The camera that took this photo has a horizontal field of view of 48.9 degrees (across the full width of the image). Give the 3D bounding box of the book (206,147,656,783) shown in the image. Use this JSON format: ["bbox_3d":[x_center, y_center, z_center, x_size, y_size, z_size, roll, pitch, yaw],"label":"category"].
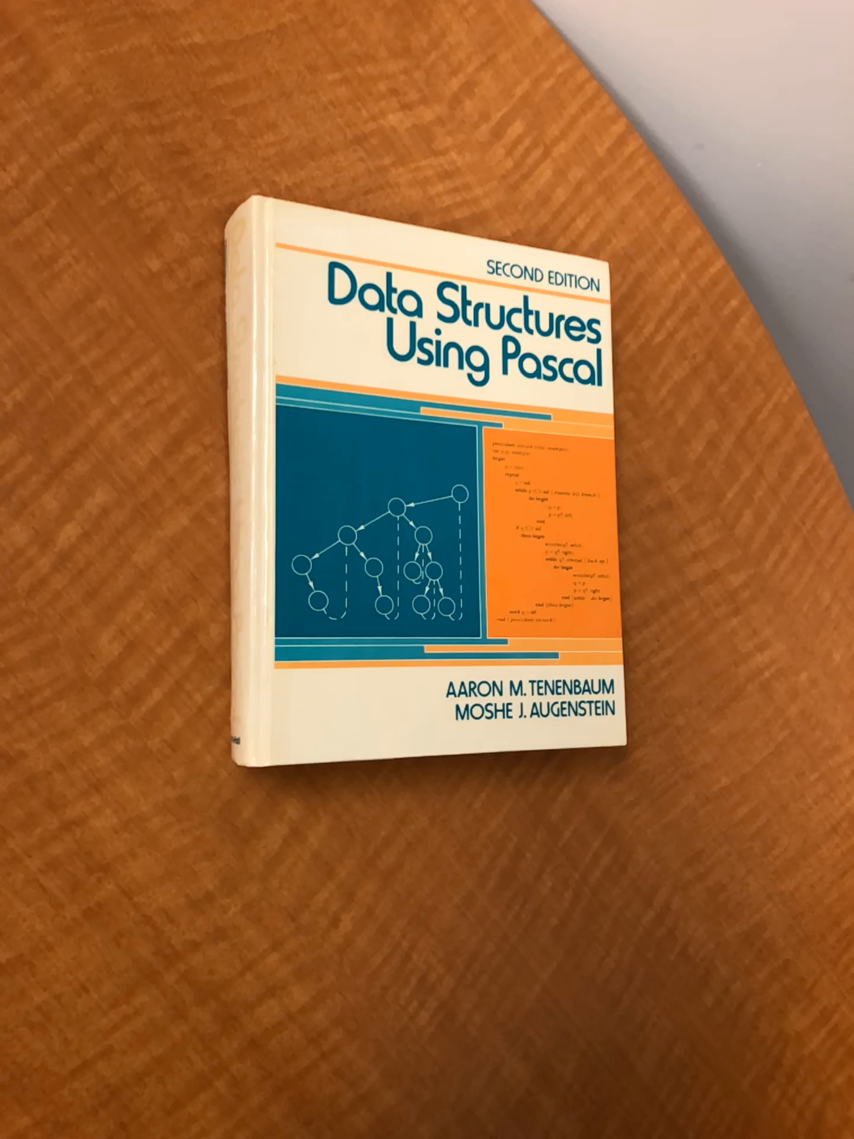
[{"bbox_3d":[0.003,-0.042,0.440,0.200,0.050,0.260,1,83,-24],"label":"book"}]
